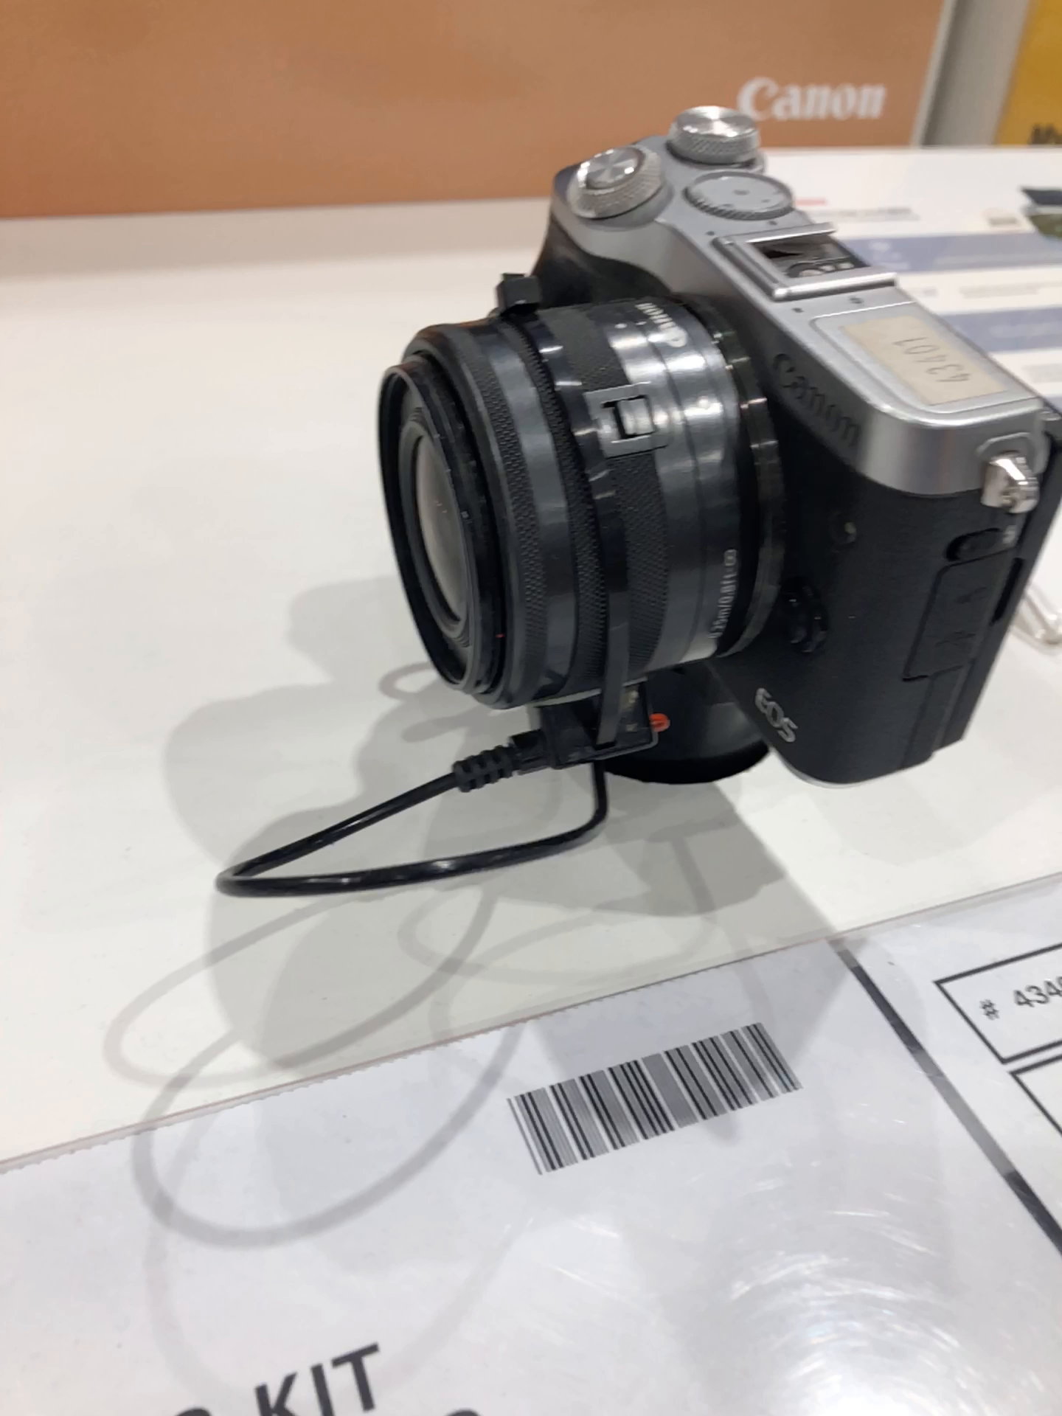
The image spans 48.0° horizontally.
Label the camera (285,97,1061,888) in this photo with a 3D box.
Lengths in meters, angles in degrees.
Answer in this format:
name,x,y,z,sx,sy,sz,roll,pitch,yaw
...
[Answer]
name,x,y,z,sx,sy,sz,roll,pitch,yaw
camera,0.015,-0.043,0.198,0.083,0.075,0.103,-13,45,-17
